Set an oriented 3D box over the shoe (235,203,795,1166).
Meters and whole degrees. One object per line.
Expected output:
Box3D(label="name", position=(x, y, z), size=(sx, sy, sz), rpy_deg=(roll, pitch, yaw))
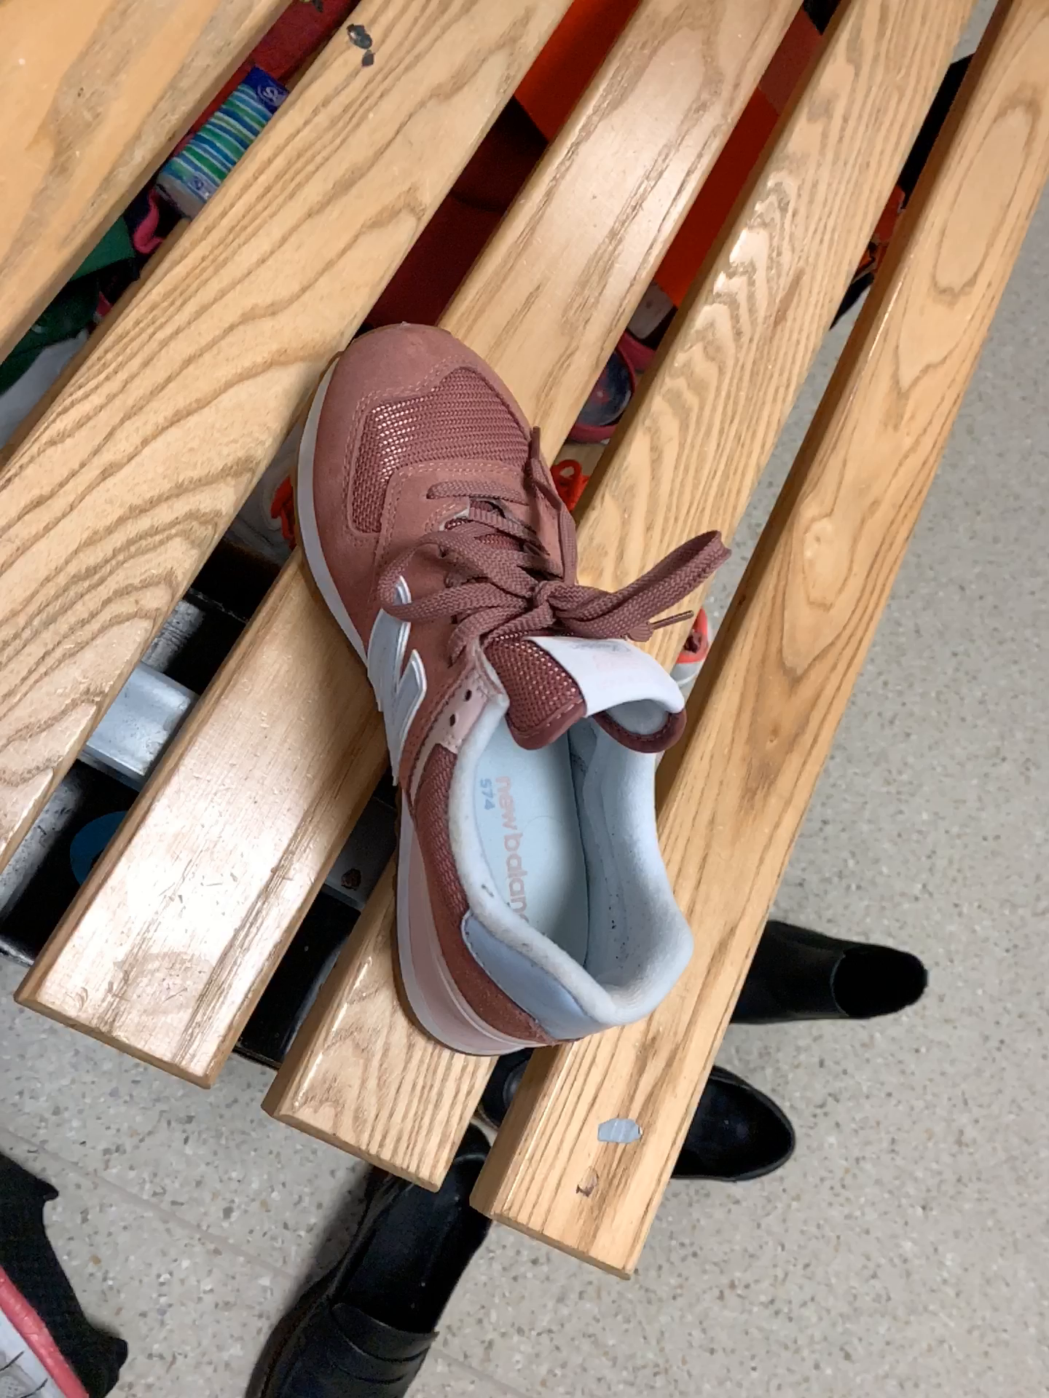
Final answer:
Box3D(label="shoe", position=(-0.011, -0.008, 0.357), size=(0.110, 0.105, 0.259), rpy_deg=(-8, 86, -27))
